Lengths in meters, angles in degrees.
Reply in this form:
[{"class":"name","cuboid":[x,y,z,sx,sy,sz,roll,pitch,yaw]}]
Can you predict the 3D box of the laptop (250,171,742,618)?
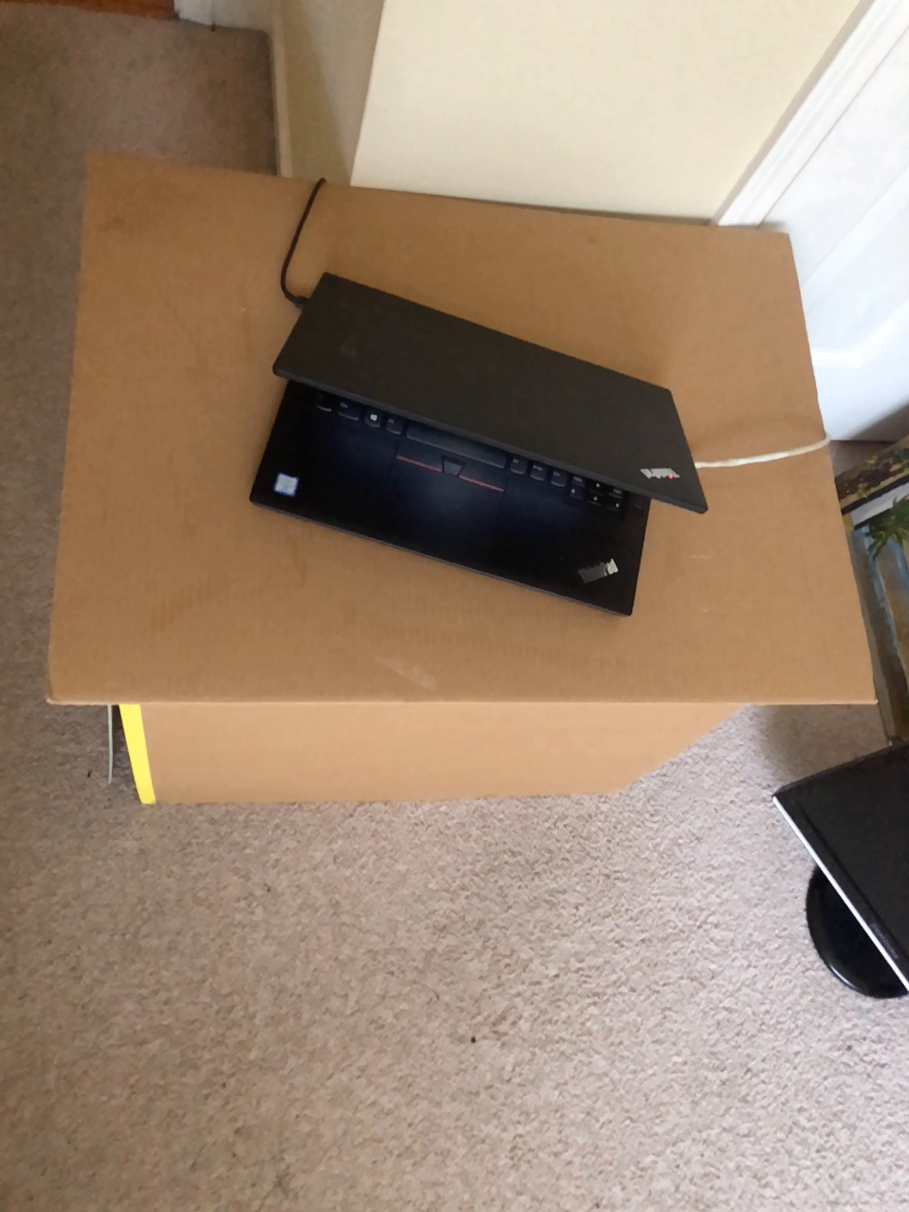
[{"class":"laptop","cuboid":[0.036,-0.162,0.806,0.334,0.140,0.232,17,66,-8]}]
